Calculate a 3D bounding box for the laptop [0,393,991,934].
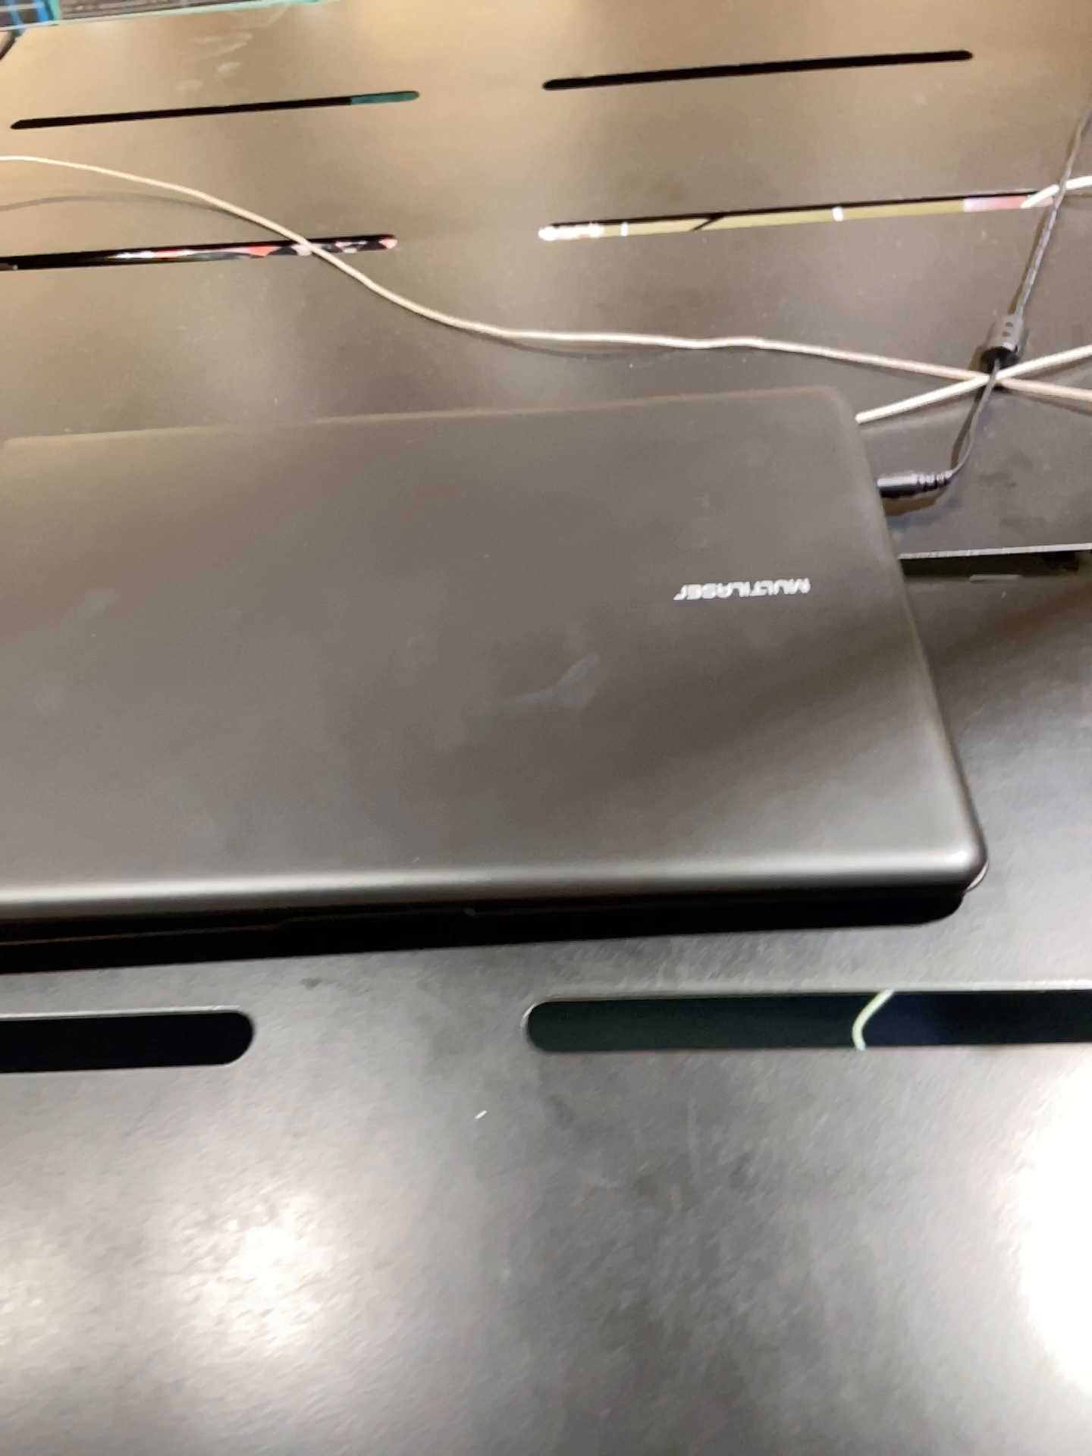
[{"bbox_3d":[-0.050,-0.036,0.360,0.324,0.001,0.211,-3,50,2],"label":"laptop"}]
